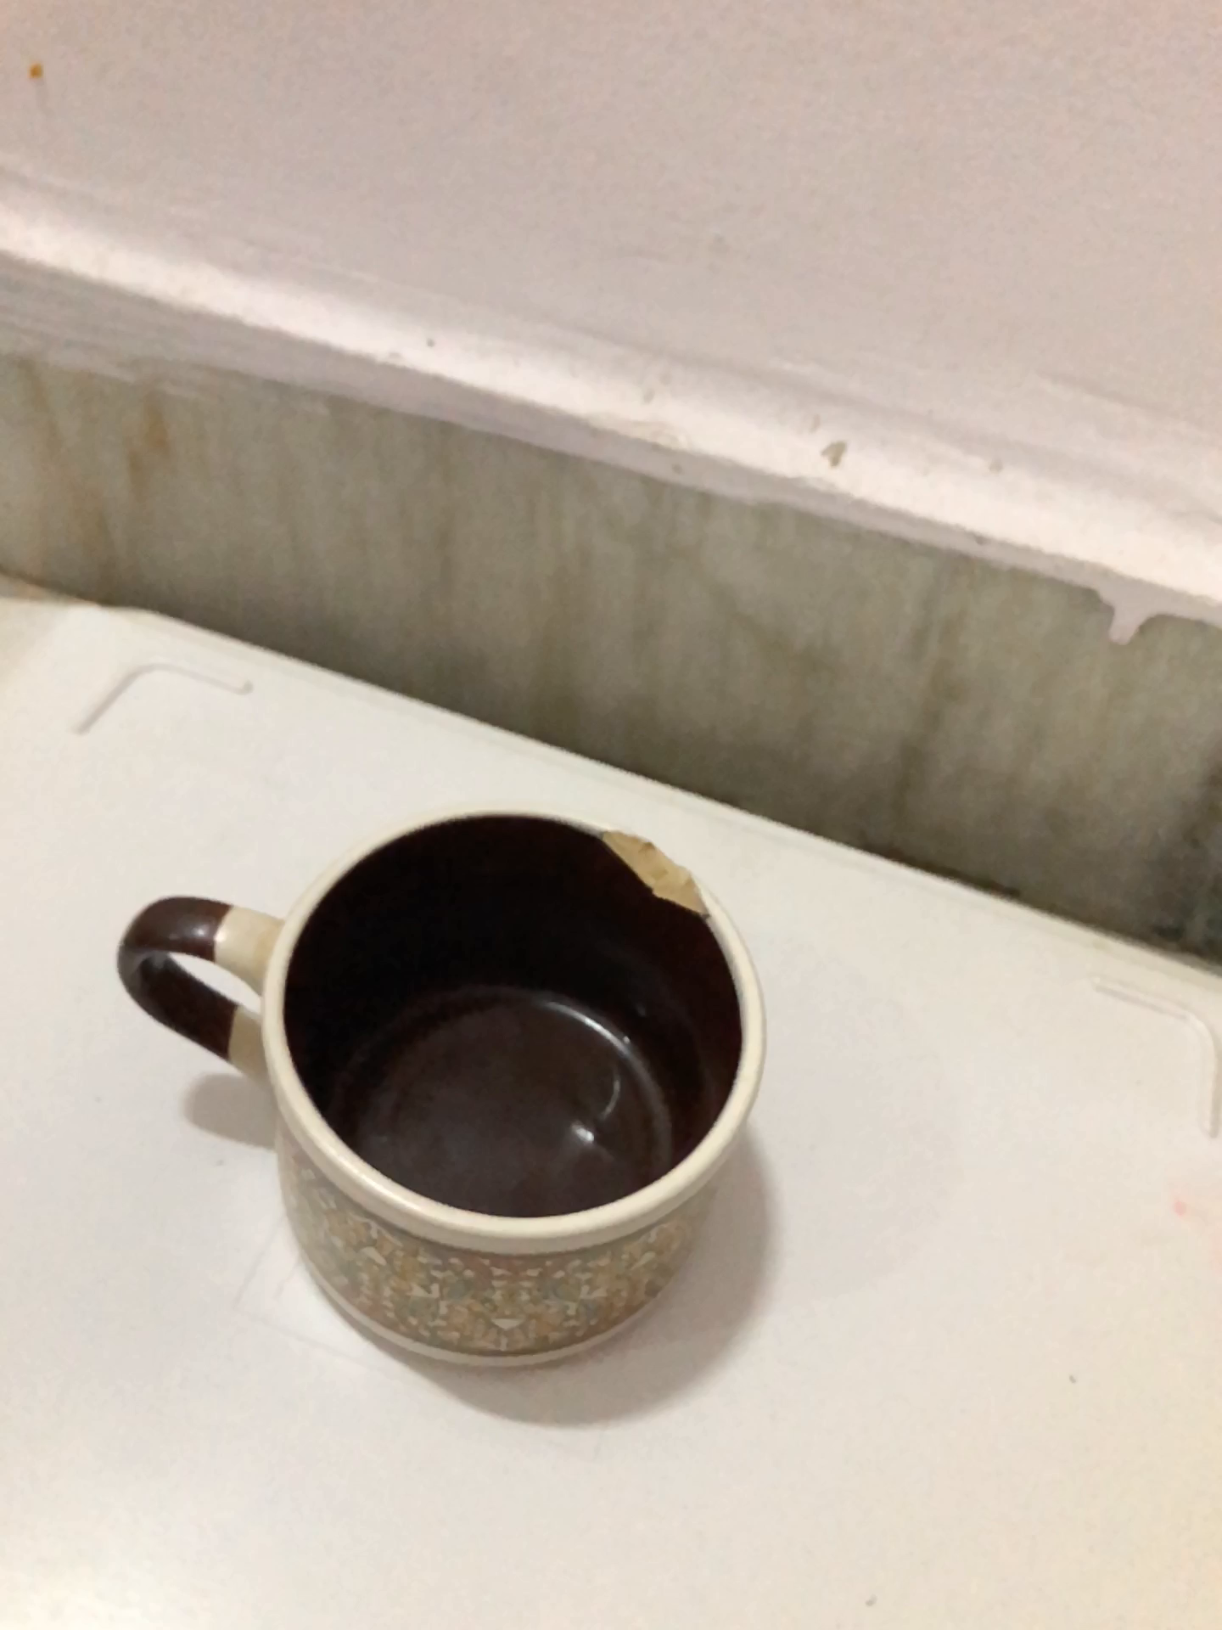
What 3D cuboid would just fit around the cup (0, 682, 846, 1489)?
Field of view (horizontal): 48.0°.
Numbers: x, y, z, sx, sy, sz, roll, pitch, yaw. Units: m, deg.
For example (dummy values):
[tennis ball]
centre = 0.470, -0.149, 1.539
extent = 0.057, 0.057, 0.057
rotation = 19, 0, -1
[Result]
[cup]
centre = -0.026, 0.040, 0.224
extent = 0.100, 0.060, 0.080
rotation = 20, 48, 8
